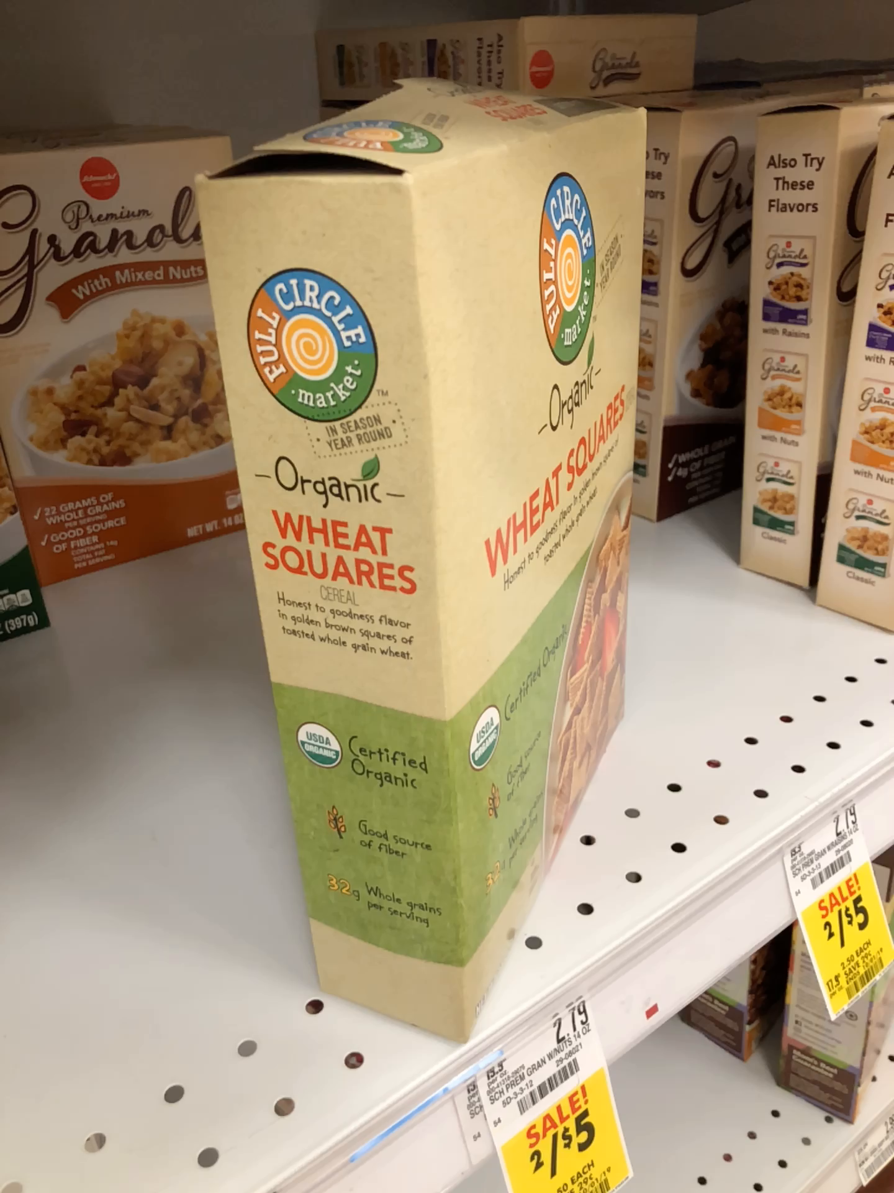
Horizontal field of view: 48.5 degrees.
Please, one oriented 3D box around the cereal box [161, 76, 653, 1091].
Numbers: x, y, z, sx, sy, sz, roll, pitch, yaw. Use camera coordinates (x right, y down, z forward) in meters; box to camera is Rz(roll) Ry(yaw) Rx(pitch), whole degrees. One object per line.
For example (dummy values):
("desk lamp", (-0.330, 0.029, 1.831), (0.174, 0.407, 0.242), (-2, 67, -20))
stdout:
("cereal box", (0.012, -0.013, 0.338), (0.050, 0.279, 0.200), (11, 33, 22))
